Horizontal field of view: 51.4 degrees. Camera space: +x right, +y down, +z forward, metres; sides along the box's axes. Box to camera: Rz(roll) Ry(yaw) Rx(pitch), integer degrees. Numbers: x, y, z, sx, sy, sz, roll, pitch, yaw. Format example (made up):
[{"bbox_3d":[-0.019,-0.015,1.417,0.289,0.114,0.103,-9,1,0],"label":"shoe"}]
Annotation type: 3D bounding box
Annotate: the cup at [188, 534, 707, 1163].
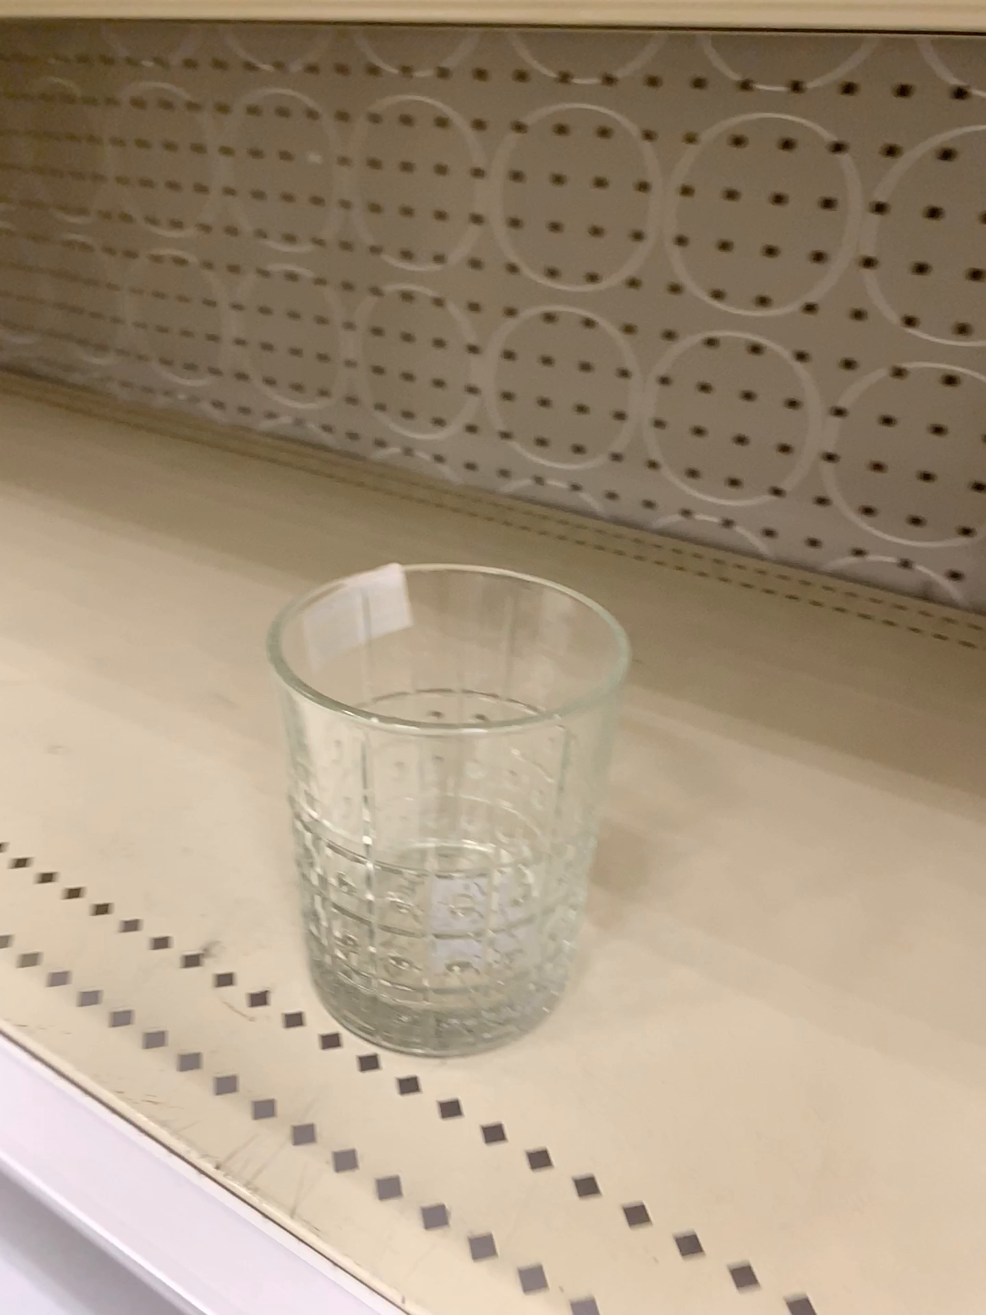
[{"bbox_3d":[-0.010,0.043,0.274,0.090,0.109,0.090,2,29,-1],"label":"cup"}]
